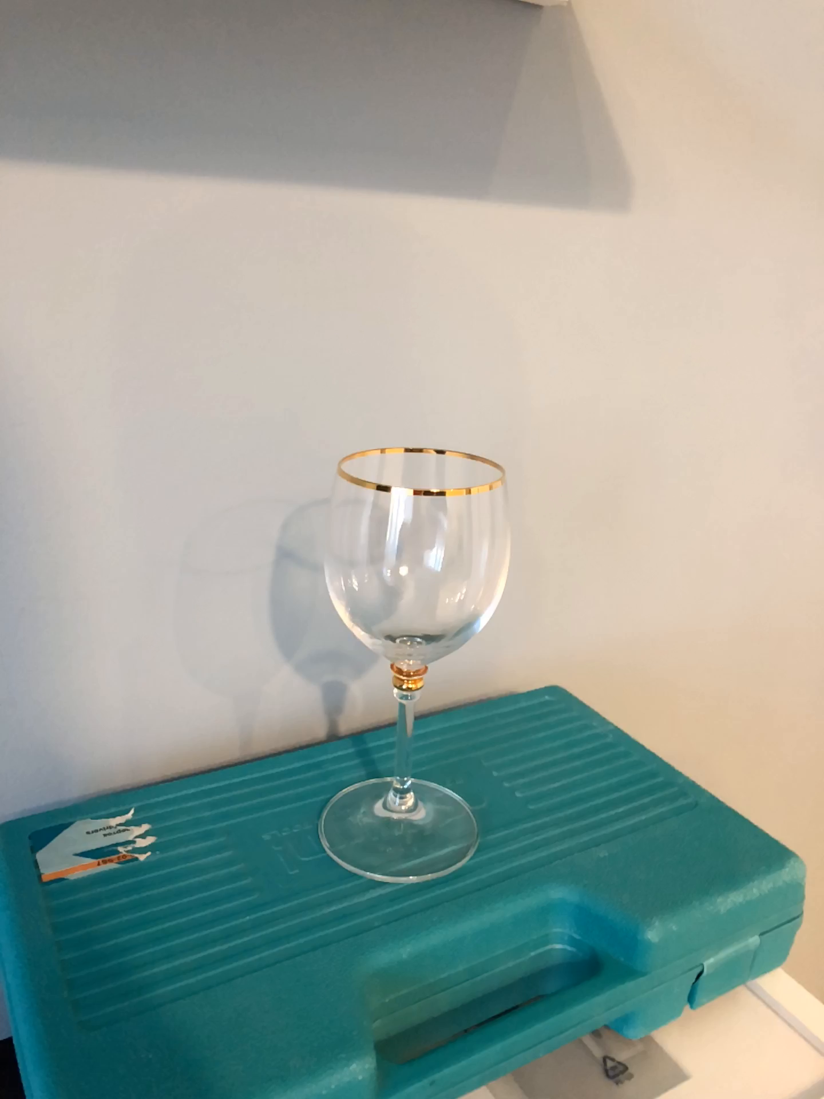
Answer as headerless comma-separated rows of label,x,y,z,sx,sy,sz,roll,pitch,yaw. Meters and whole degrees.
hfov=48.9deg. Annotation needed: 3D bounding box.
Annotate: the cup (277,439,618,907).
cup,0.007,0.044,0.395,0.100,0.159,0.100,3,19,-1
